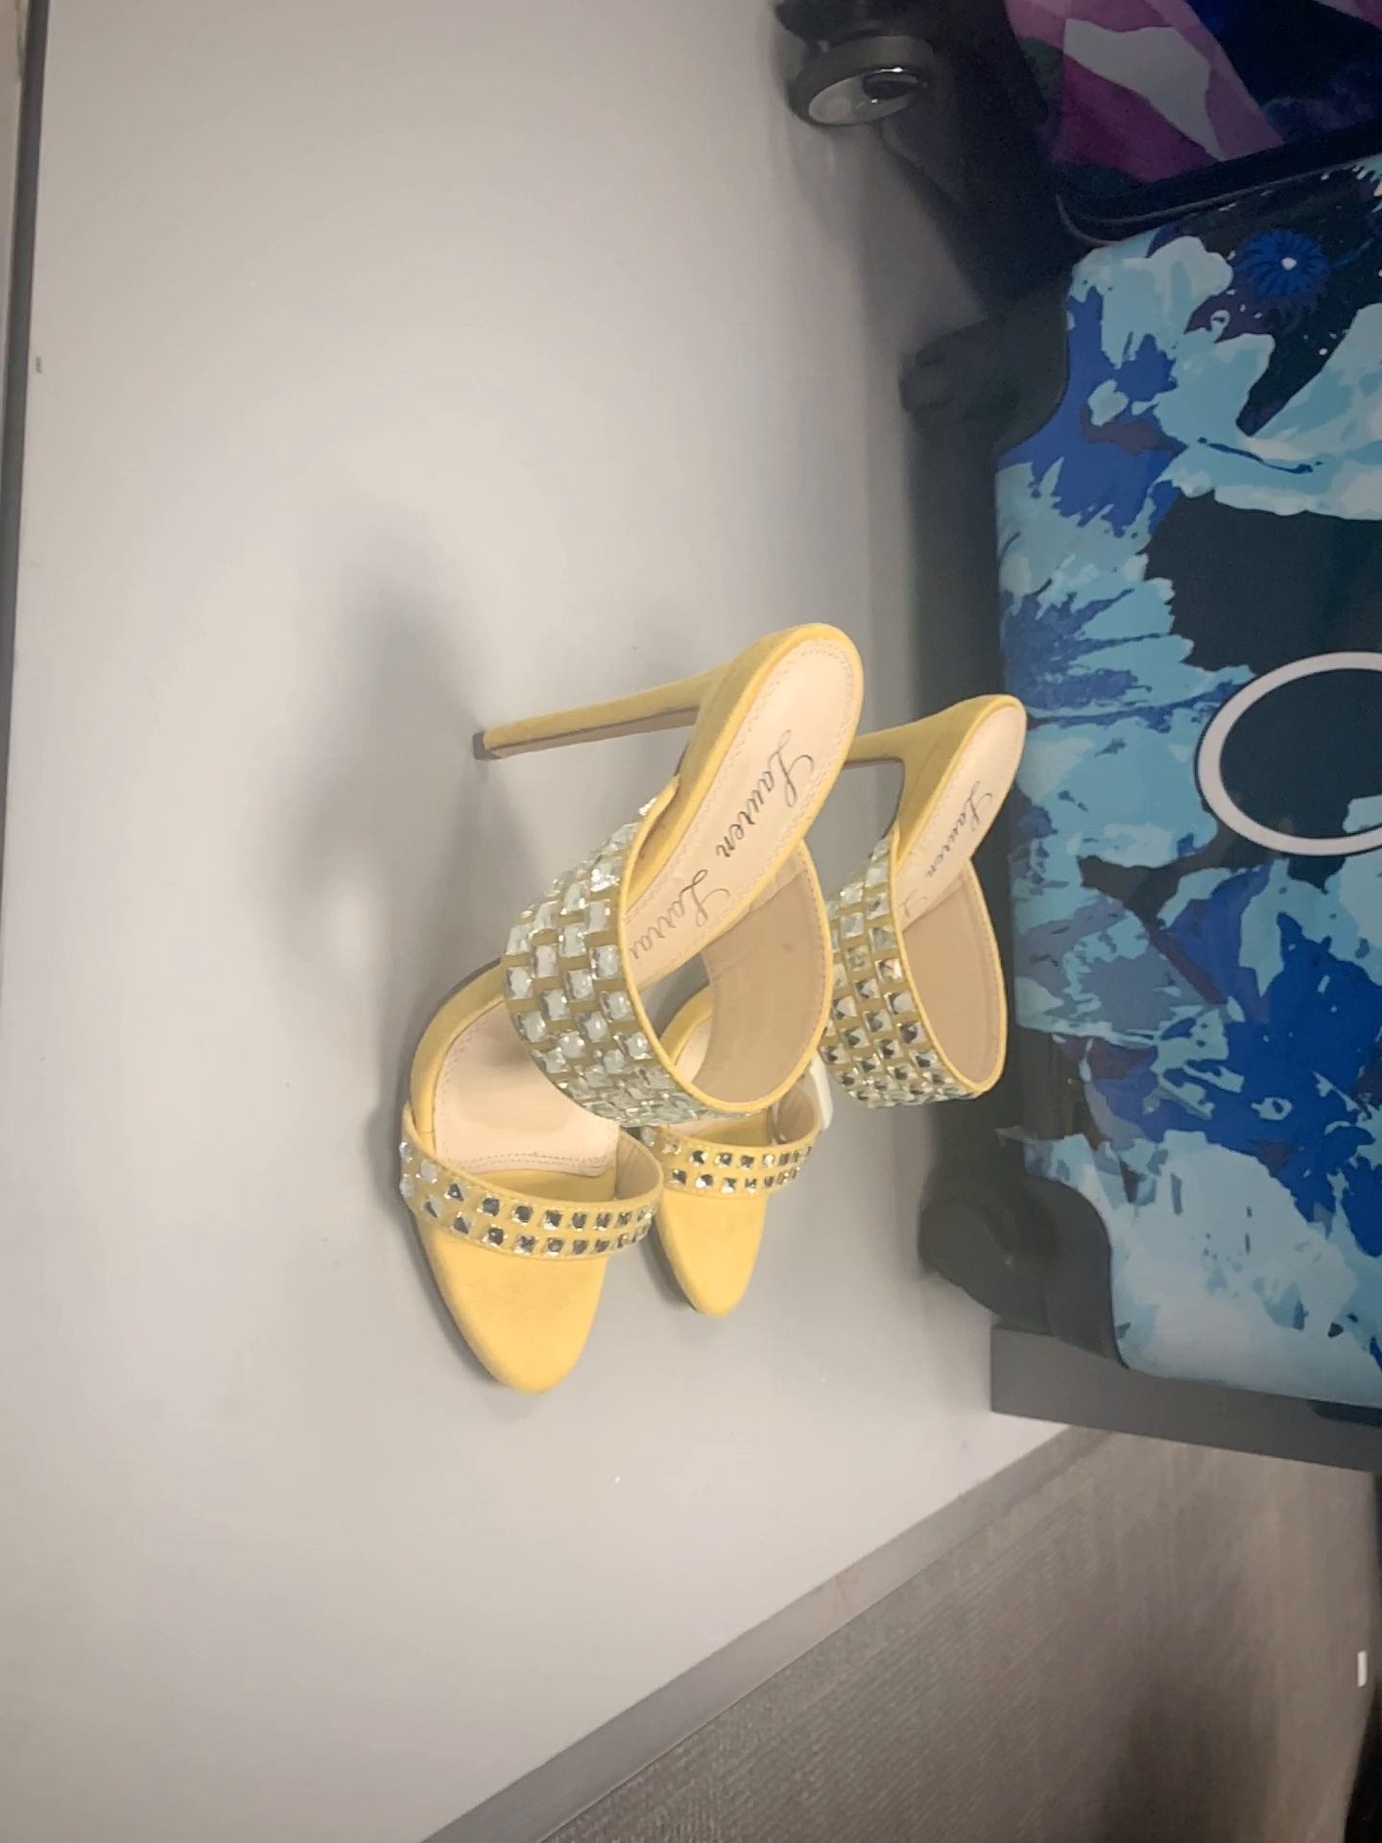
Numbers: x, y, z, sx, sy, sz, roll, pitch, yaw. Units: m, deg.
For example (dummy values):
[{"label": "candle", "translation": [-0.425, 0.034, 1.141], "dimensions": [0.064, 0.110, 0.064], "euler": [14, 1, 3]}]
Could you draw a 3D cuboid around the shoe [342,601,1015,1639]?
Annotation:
[{"label": "shoe", "translation": [0.000, 0.036, 0.354], "dimensions": [0.117, 0.114, 0.202], "euler": [-2, 95, -57]}]

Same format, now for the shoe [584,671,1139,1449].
[{"label": "shoe", "translation": [0.057, 0.036, 0.441], "dimensions": [0.111, 0.116, 0.199], "euler": [10, 85, -57]}]
